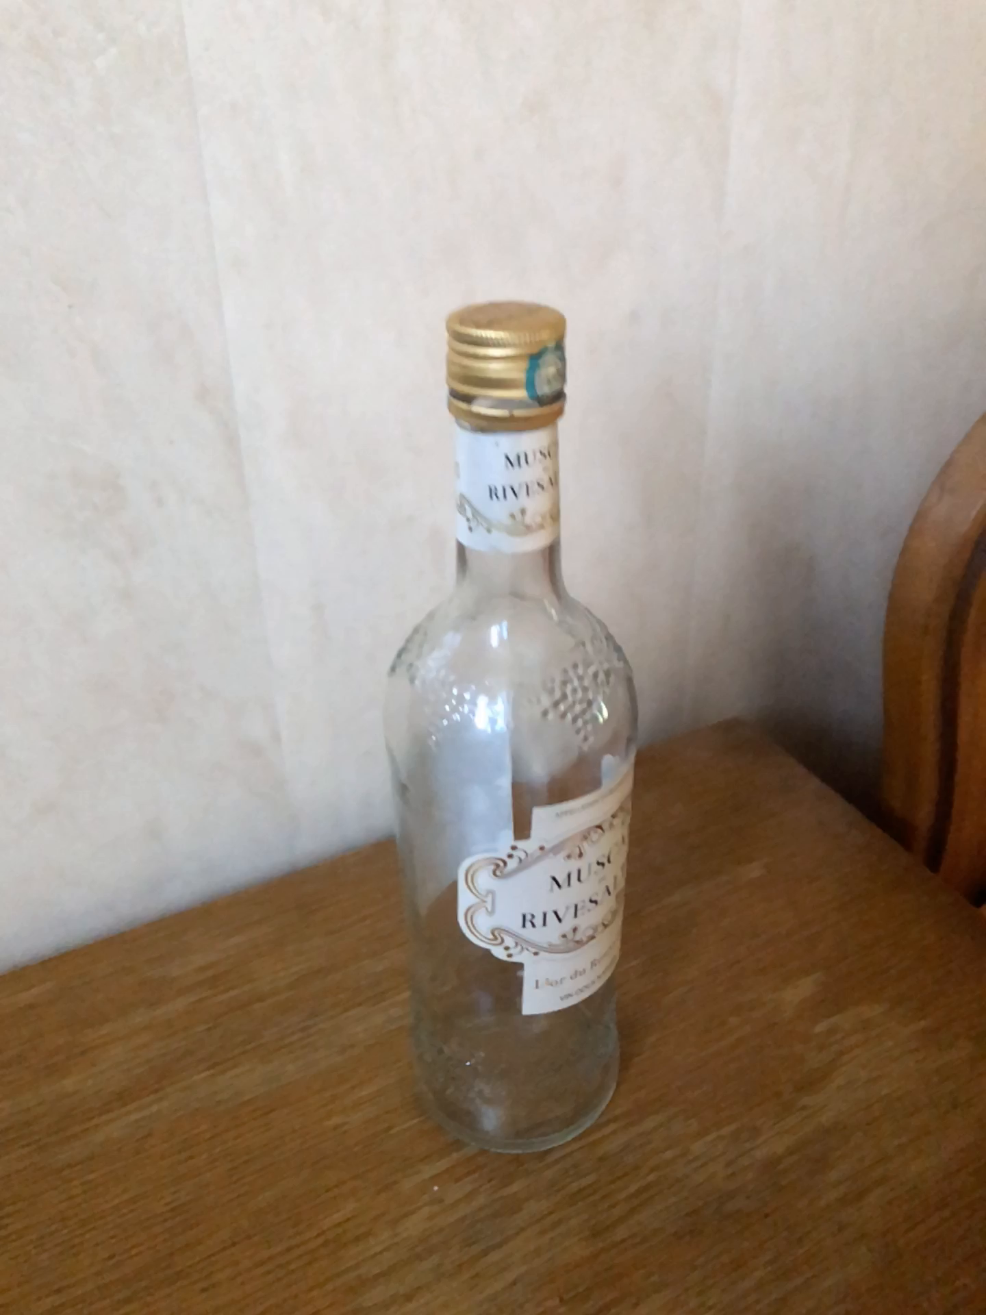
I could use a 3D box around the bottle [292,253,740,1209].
[{"bbox_3d":[0.007,0.034,0.348,0.080,0.288,0.080,-1,30,0],"label":"bottle"}]
